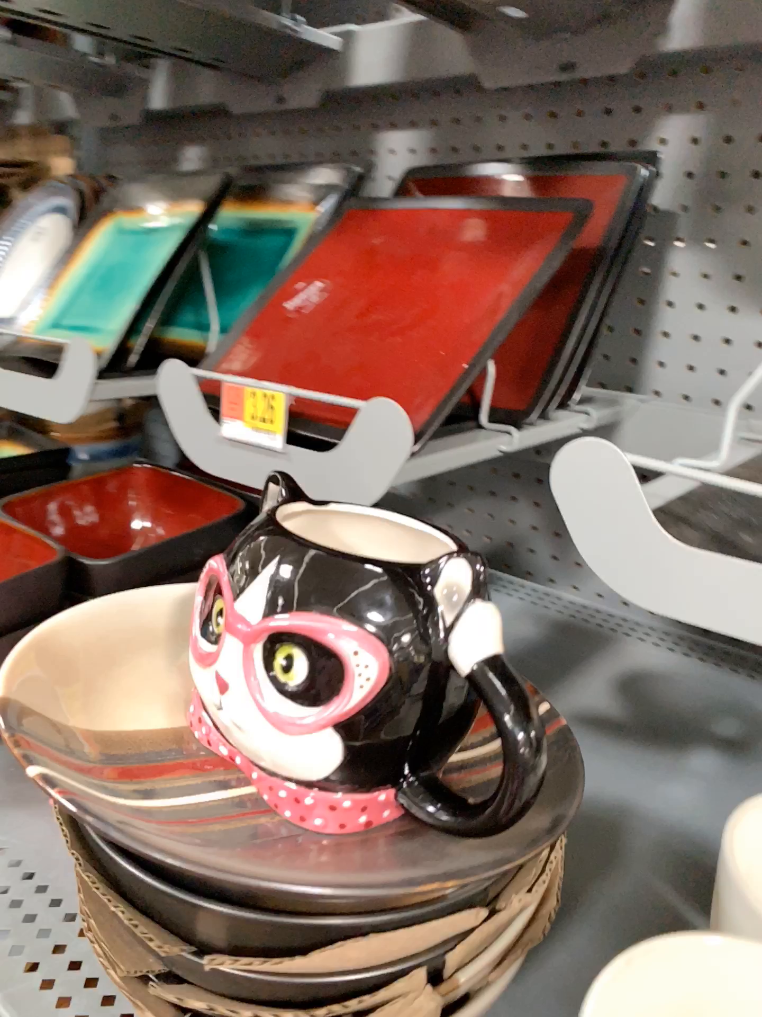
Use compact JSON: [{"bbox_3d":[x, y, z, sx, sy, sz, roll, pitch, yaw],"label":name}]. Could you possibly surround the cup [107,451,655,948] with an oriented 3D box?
[{"bbox_3d":[-0.008,0.039,0.253,0.096,0.074,0.145,-14,25,-41],"label":"cup"}]
